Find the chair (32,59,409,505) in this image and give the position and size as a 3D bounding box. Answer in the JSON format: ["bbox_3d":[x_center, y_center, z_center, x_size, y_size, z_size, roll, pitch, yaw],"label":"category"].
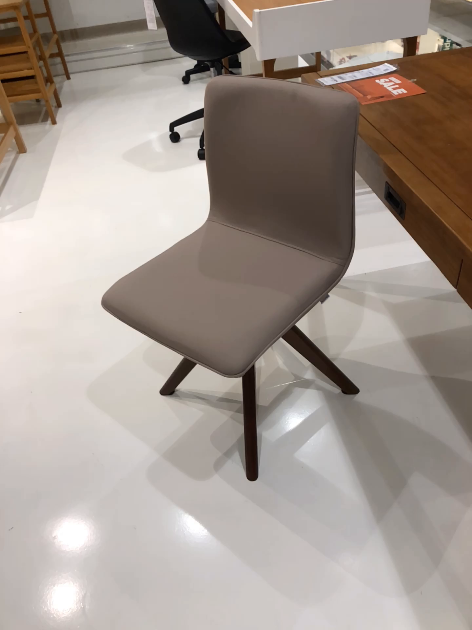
[{"bbox_3d":[0.013,-0.093,1.295,0.542,0.834,0.532,24,49,32],"label":"chair"}]
